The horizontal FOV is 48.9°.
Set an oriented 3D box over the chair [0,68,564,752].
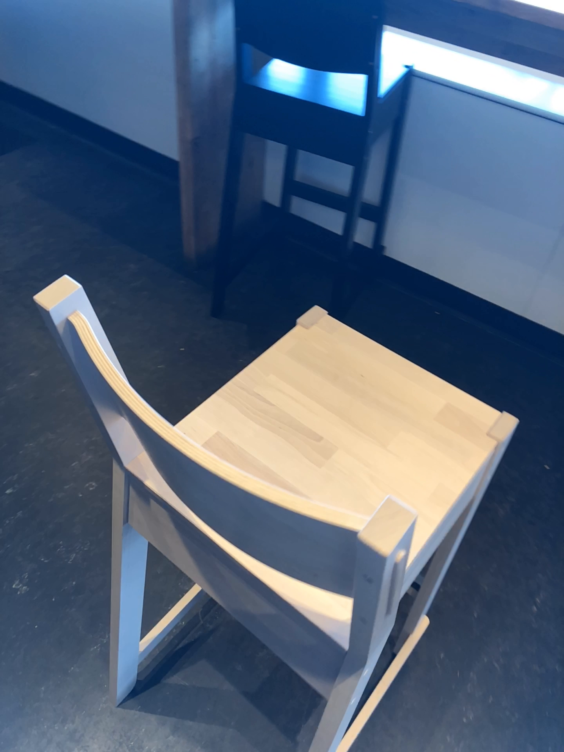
[{"bbox_3d":[0.075,0.199,0.901,0.461,0.976,0.541,33,52,23],"label":"chair"}]
